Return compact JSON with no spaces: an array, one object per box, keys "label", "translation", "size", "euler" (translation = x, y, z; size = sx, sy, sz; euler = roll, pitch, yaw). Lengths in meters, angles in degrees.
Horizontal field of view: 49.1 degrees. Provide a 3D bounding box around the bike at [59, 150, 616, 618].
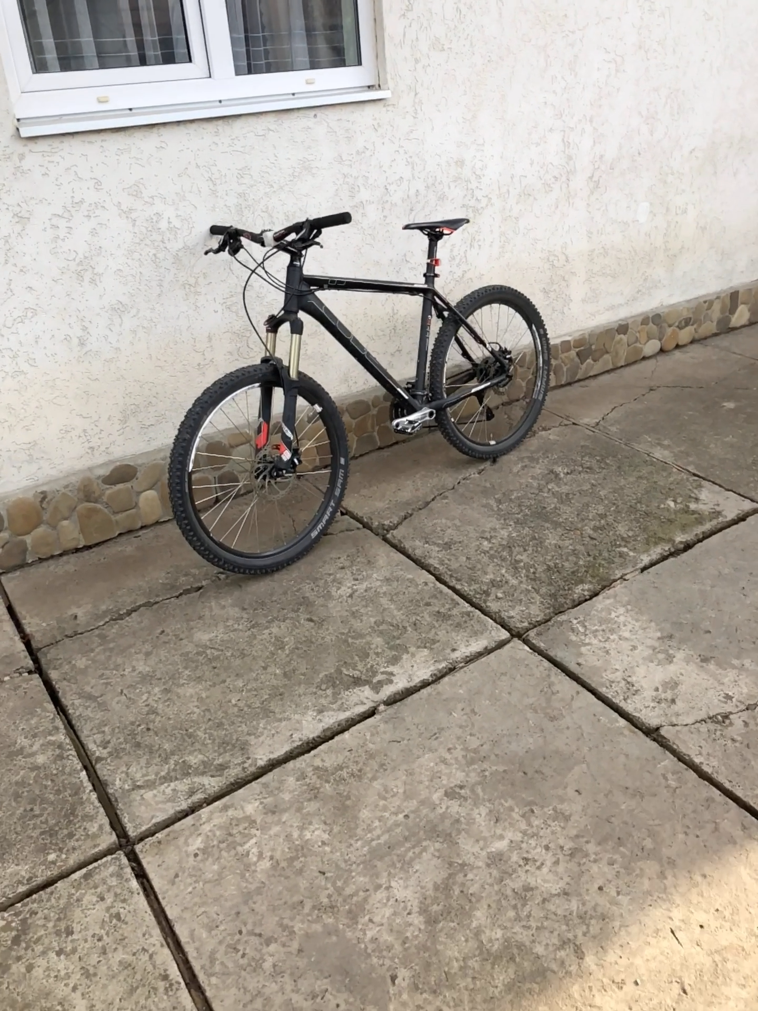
[{"label":"bike","translation":[-0.017,-0.565,2.947],"size":[1.778,1.090,0.688],"euler":[-24,36,-34]}]
